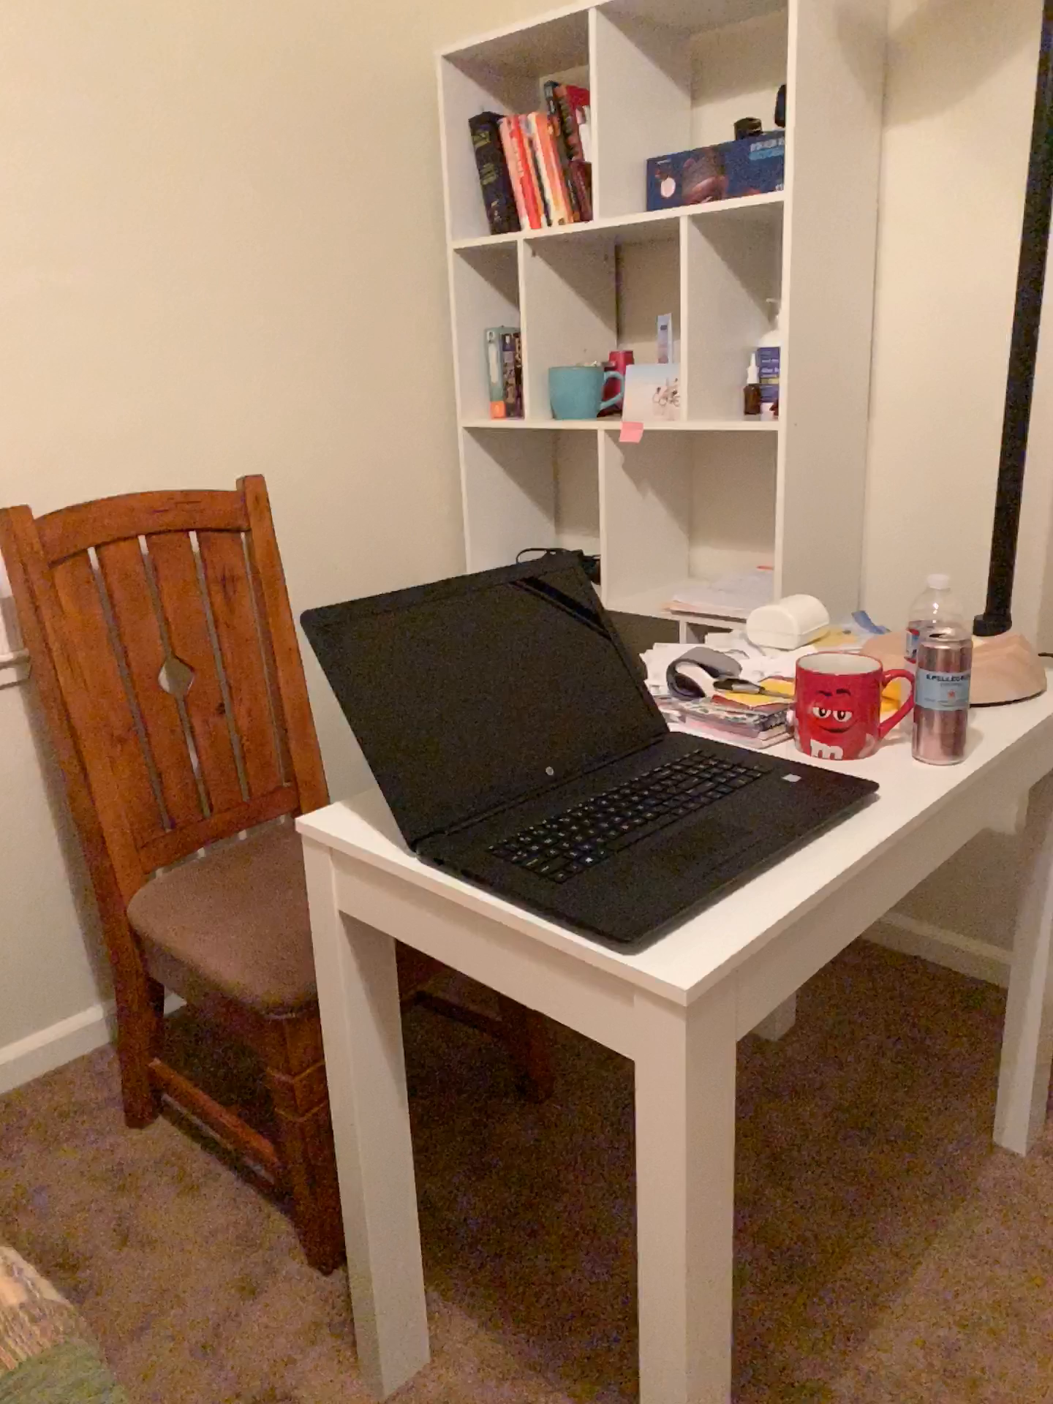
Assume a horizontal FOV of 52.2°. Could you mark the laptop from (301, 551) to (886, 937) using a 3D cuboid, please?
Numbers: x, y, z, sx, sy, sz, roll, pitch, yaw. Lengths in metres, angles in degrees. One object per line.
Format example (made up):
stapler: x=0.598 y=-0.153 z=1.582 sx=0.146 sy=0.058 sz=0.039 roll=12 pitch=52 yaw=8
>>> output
laptop: x=0.068 y=-0.002 z=1.088 sx=0.416 sy=0.197 sz=0.401 roll=15 pitch=25 yaw=43
